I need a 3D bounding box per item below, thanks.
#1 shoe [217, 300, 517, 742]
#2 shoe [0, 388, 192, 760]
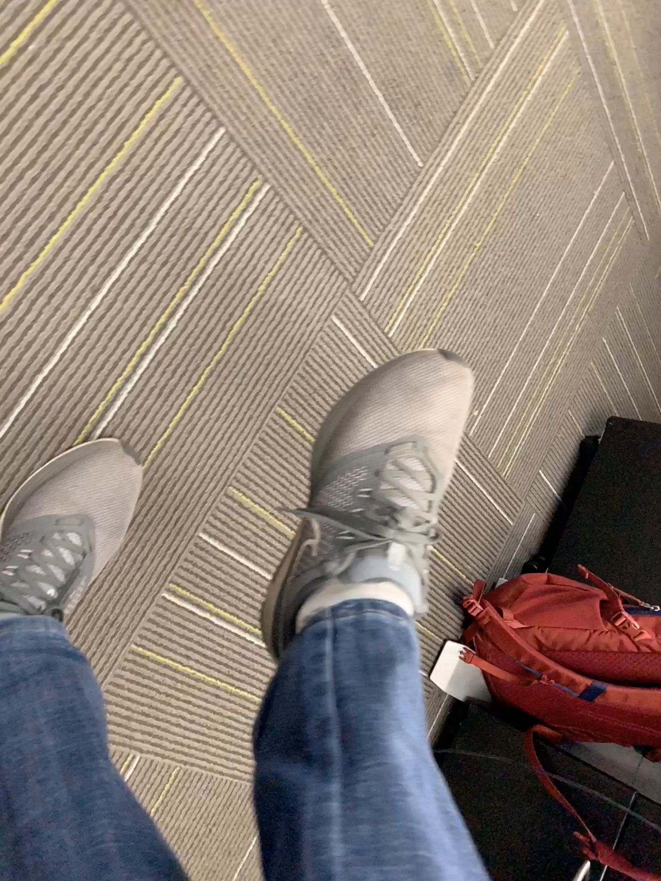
[{"bbox_3d":[0.025,0.060,0.548,0.127,0.115,0.297,21,81,-13],"label":"shoe"},{"bbox_3d":[-0.323,0.111,0.675,0.310,0.179,0.124,-52,130,-21],"label":"shoe"}]
